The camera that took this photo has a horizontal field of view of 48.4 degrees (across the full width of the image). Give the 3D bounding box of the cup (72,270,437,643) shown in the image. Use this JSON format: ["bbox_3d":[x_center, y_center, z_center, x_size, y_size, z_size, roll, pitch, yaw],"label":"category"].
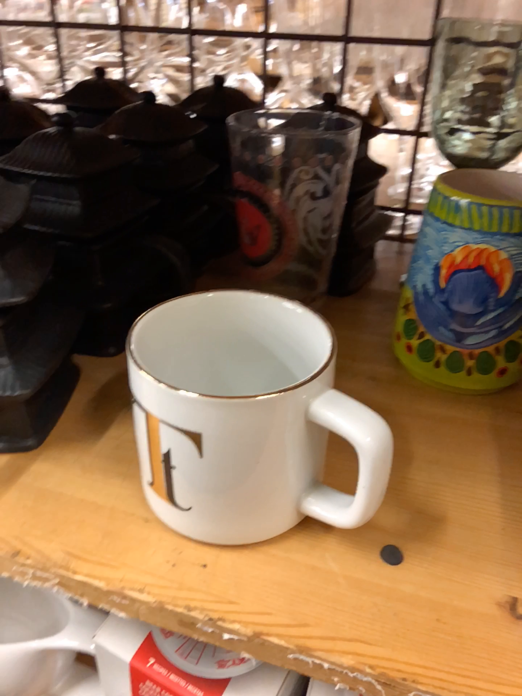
[{"bbox_3d":[-0.006,0.035,0.260,0.123,0.084,0.089,28,41,36],"label":"cup"}]

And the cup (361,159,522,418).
[{"bbox_3d":[0.118,-0.038,0.324,0.093,0.104,0.079,16,35,22],"label":"cup"}]

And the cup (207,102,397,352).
[{"bbox_3d":[0.022,-0.086,0.396,0.078,0.134,0.093,-18,36,-27],"label":"cup"}]
